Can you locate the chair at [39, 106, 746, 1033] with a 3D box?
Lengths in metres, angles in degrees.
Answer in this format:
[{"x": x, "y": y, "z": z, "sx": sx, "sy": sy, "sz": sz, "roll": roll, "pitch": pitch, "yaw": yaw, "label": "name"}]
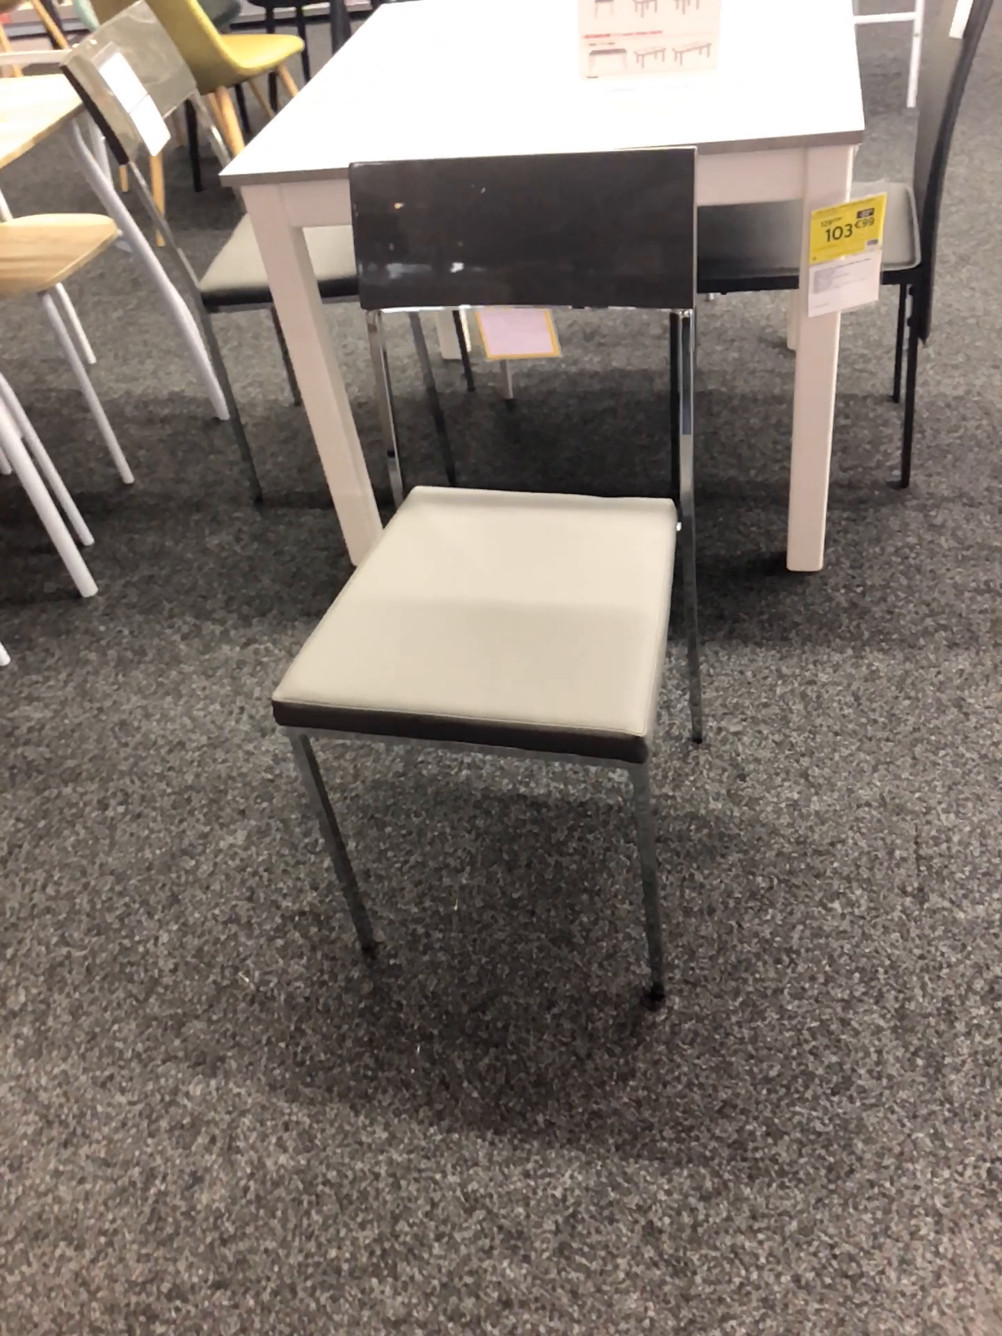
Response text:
[{"x": 0.001, "y": -0.086, "z": 1.268, "sx": 0.490, "sy": 0.855, "sz": 0.553, "roll": 5, "pitch": 45, "yaw": 16, "label": "chair"}]
